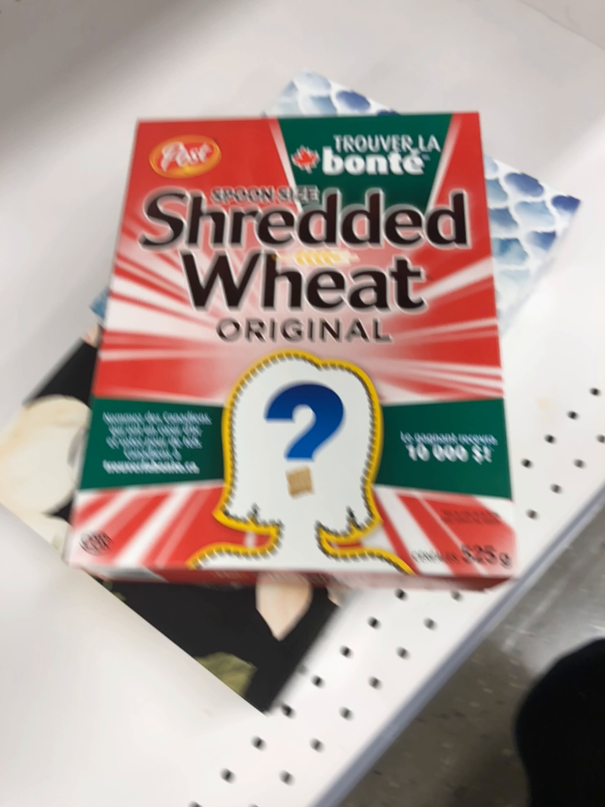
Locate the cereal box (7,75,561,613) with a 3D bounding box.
[{"bbox_3d":[-0.003,-0.042,0.360,0.230,0.060,0.280,1,67,6],"label":"cereal box"}]
